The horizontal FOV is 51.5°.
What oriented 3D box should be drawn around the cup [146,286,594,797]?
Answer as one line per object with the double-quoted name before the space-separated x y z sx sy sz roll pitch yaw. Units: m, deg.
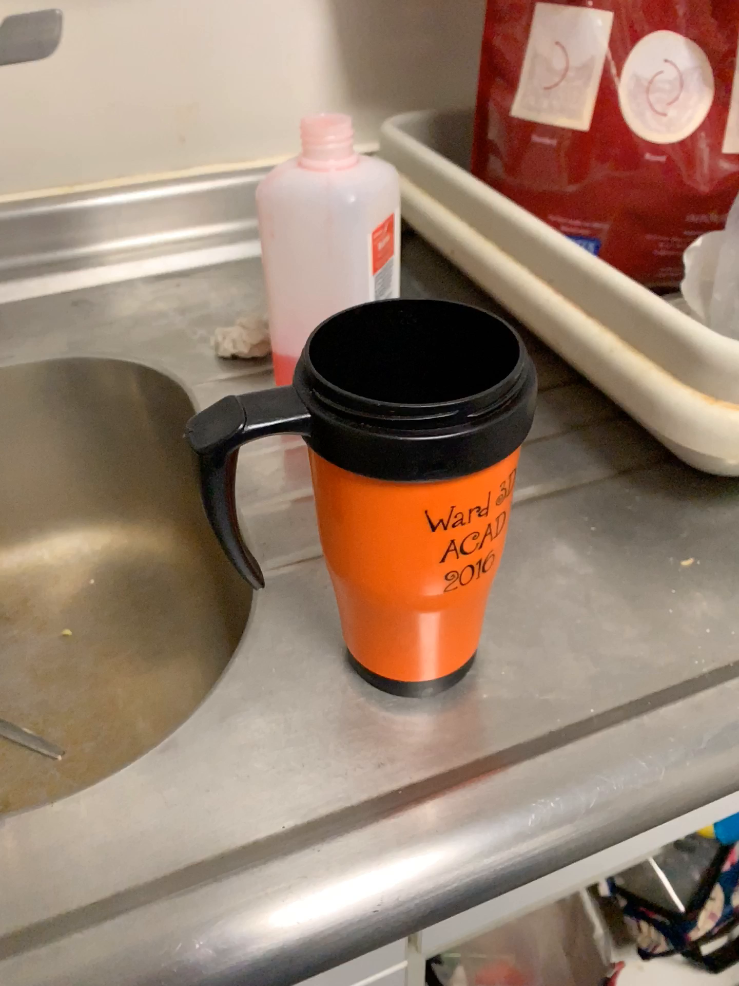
"cup" -0.002 0.020 0.322 0.134 0.164 0.090 -16 41 -17
